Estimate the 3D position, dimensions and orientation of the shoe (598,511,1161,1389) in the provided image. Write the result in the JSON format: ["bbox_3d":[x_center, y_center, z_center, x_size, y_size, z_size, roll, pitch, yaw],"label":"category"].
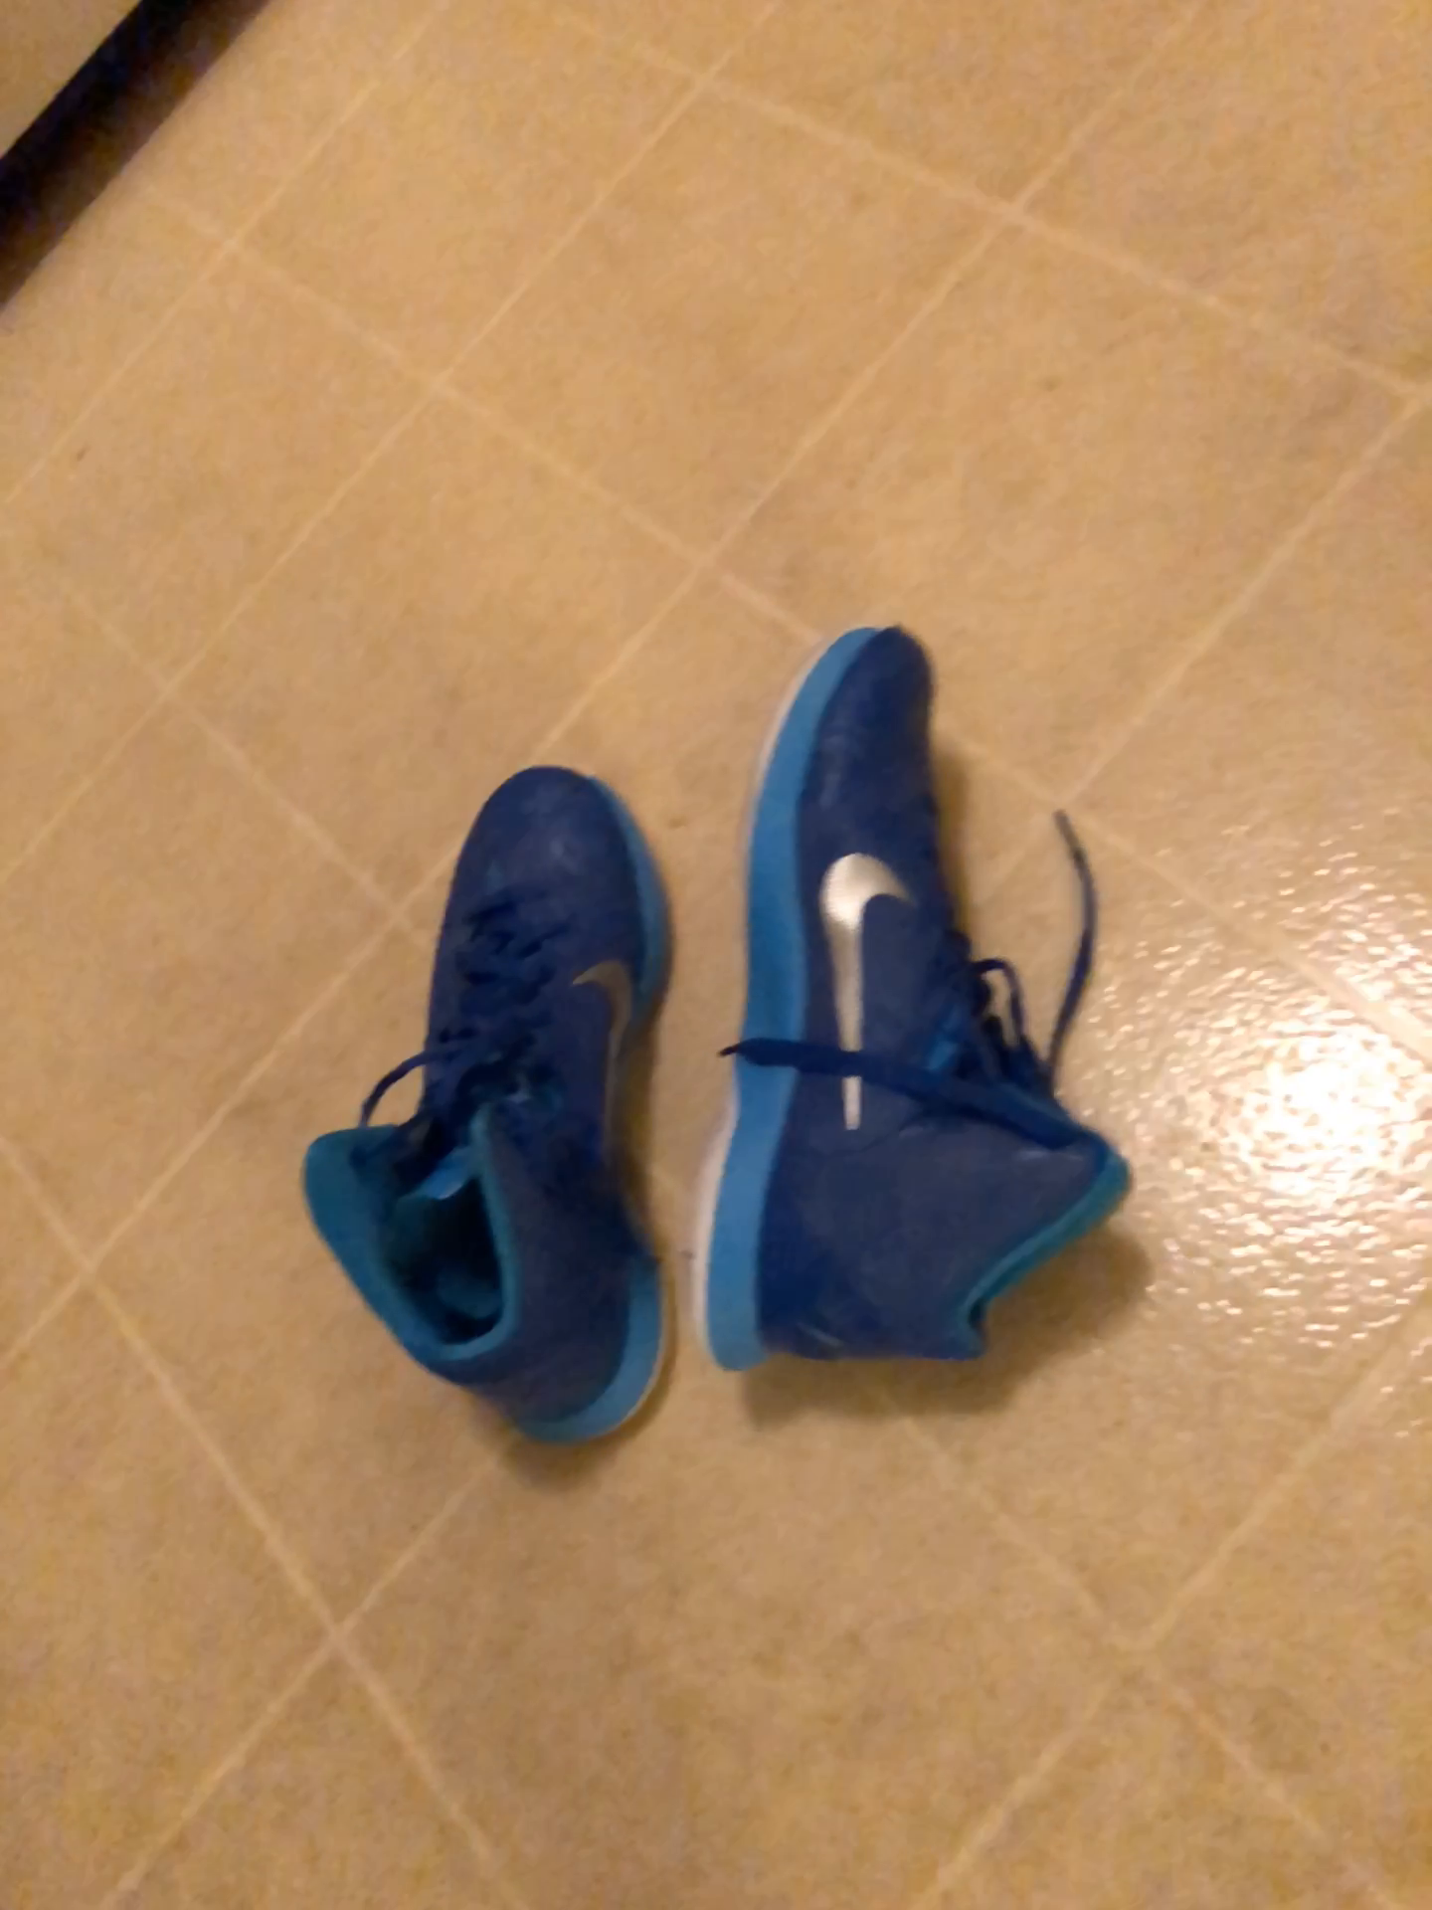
[{"bbox_3d":[0.072,0.000,0.574,0.159,0.120,0.282,1,71,19],"label":"shoe"}]

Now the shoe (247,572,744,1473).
[{"bbox_3d":[-0.085,0.033,0.625,0.120,0.144,0.311,-14,65,19],"label":"shoe"}]
